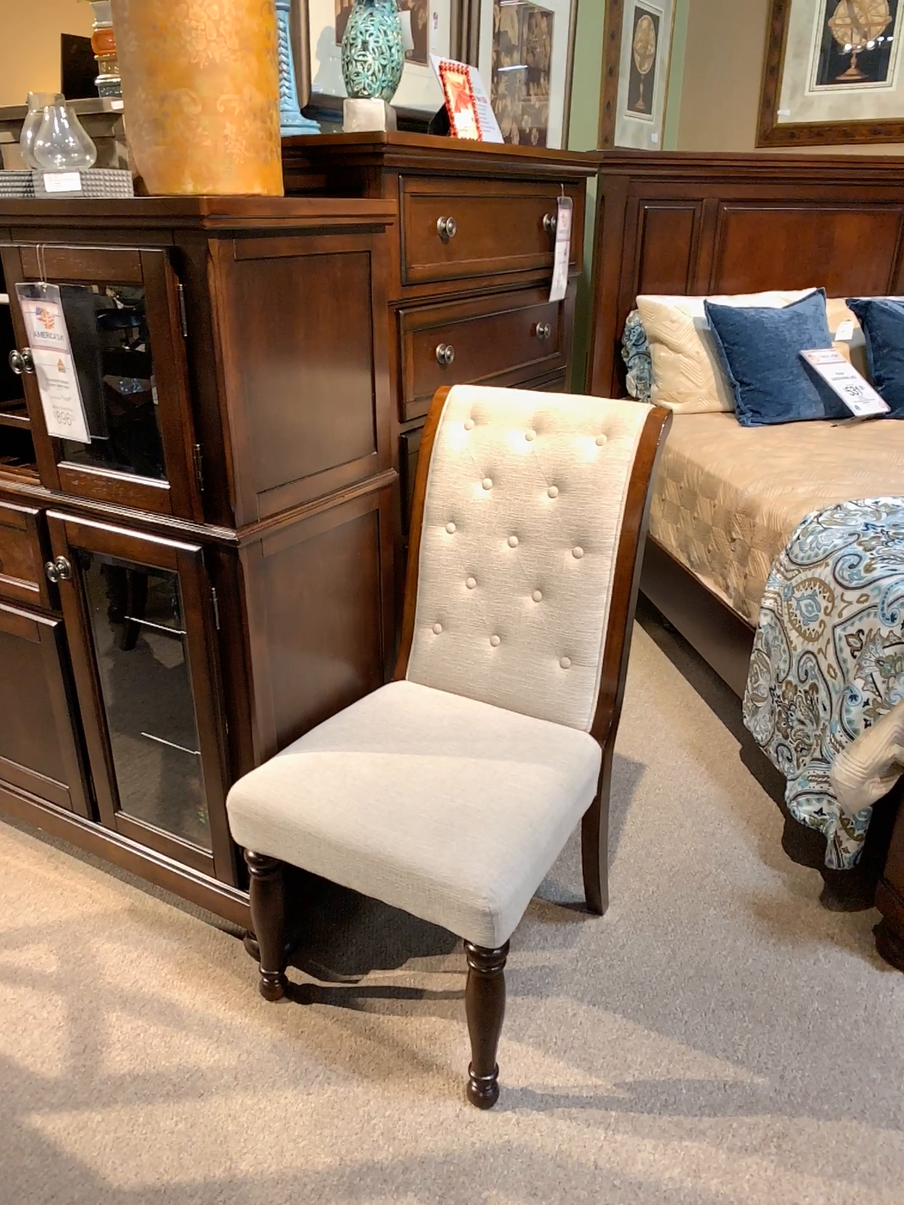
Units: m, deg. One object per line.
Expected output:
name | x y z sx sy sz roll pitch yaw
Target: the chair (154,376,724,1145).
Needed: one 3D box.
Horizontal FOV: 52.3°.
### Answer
chair | 0.024 0.170 1.576 0.585 0.950 0.719 13 25 27
